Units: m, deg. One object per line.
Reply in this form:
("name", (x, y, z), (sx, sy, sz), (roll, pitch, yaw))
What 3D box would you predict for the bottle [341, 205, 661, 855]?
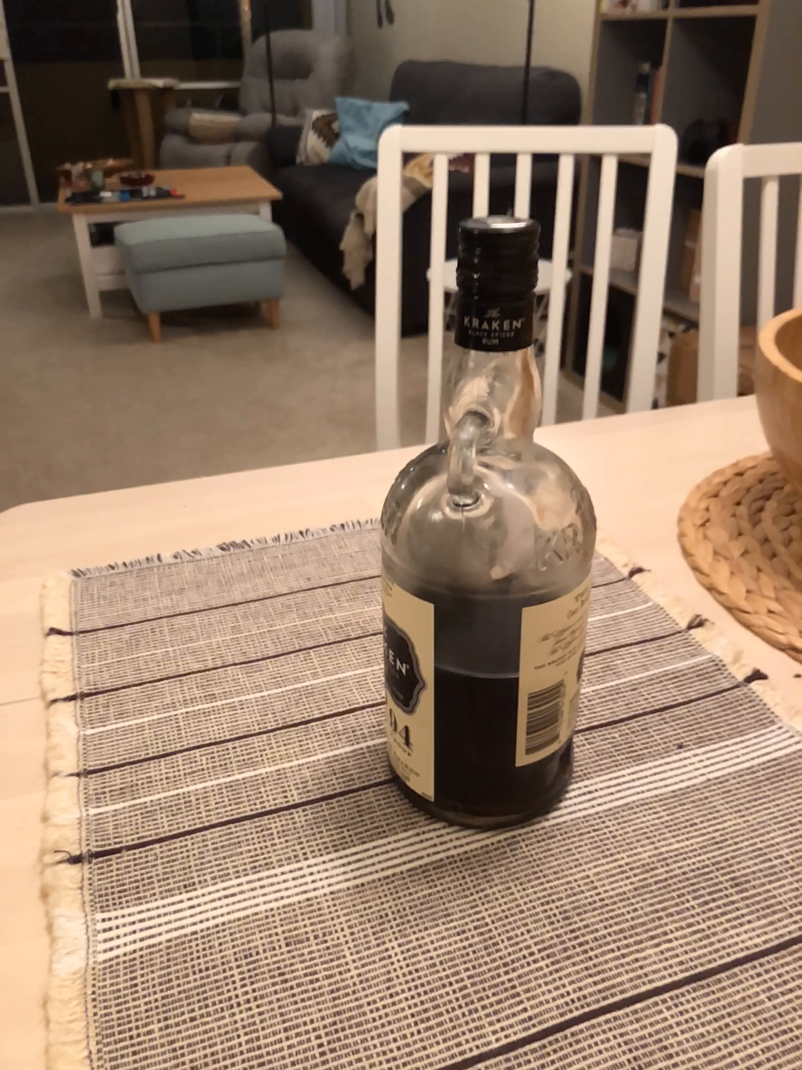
("bottle", (0.042, 0.000, 0.377), (0.100, 0.248, 0.101), (0, 29, 0))
